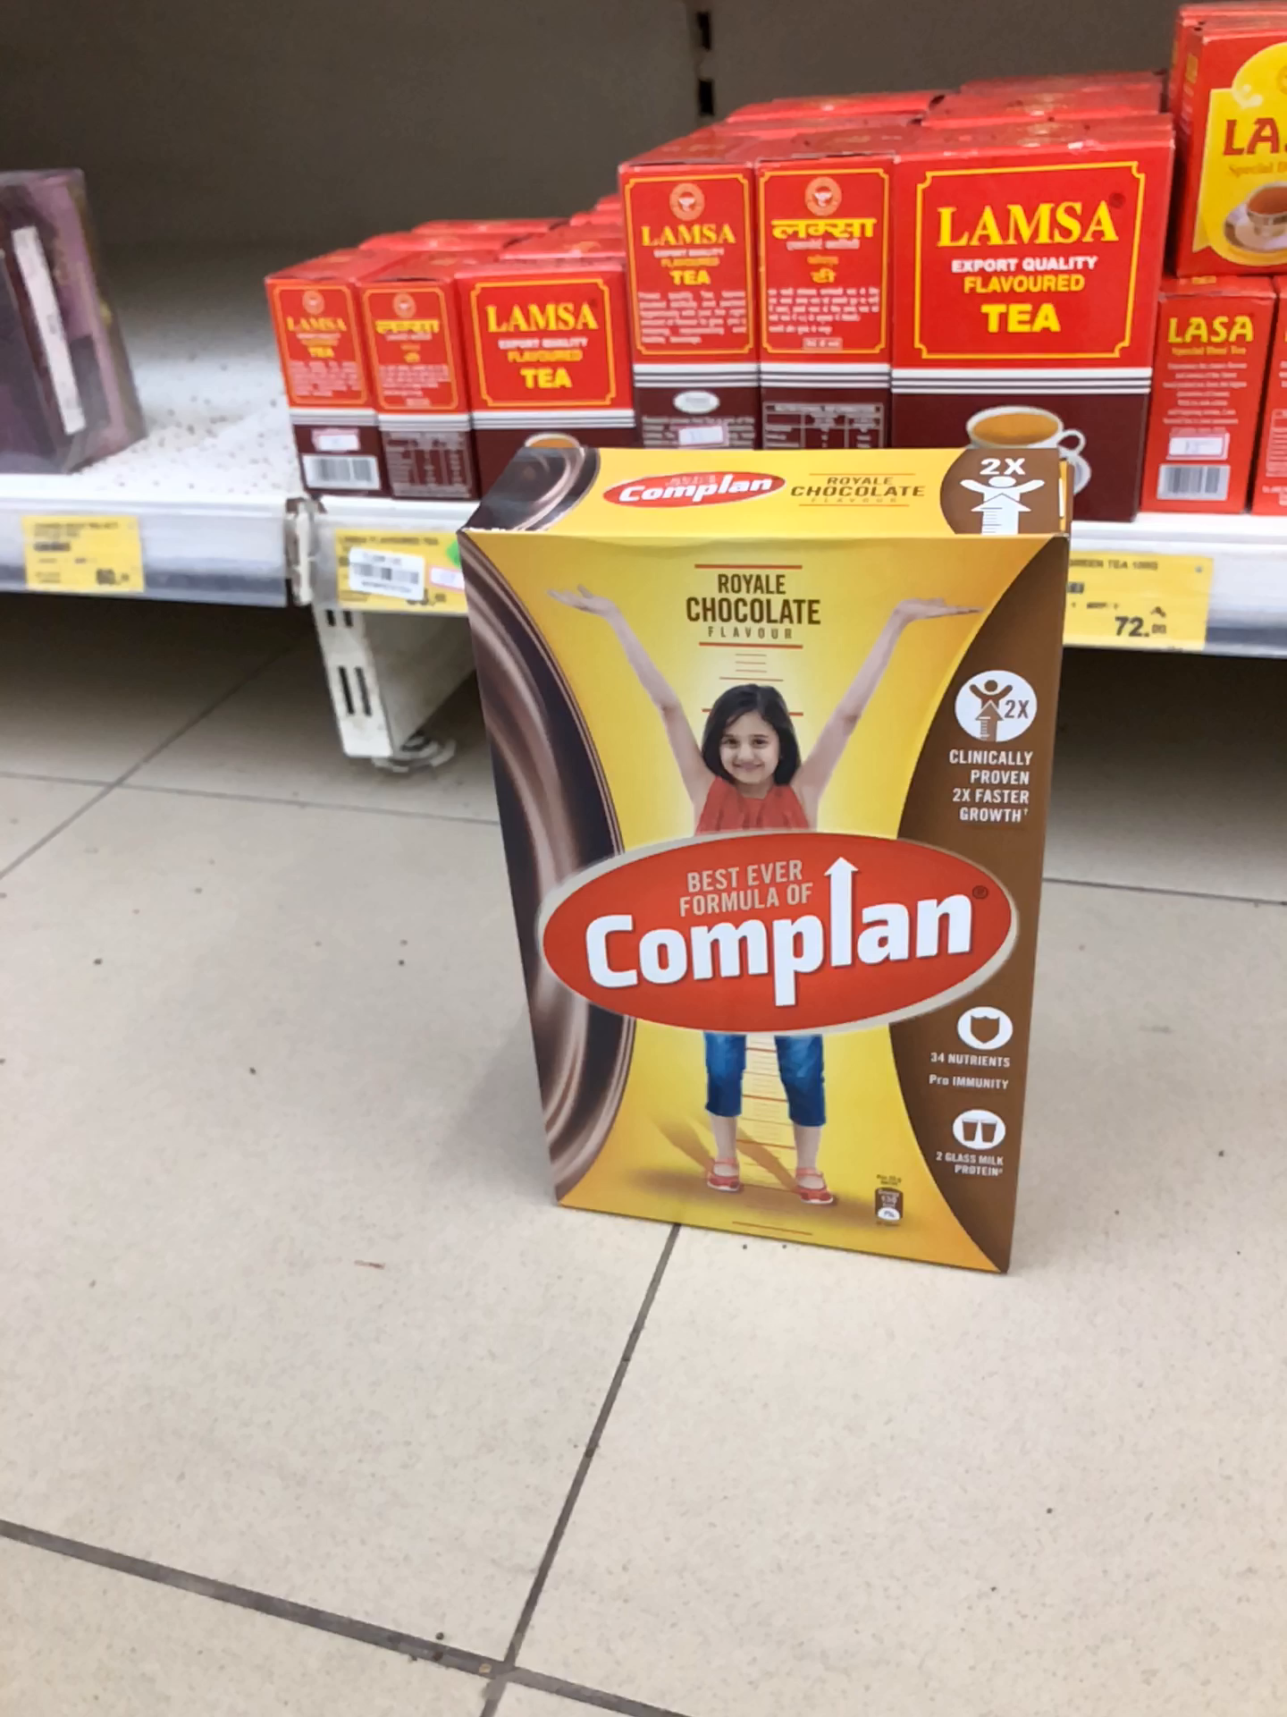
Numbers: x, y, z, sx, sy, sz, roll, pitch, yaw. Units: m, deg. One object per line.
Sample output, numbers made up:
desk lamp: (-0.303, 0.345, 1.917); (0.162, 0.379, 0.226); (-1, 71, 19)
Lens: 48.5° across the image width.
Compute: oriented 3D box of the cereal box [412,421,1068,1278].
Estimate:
cereal box: (0.037, 0.002, 0.437); (0.160, 0.248, 0.071); (5, 32, 16)
